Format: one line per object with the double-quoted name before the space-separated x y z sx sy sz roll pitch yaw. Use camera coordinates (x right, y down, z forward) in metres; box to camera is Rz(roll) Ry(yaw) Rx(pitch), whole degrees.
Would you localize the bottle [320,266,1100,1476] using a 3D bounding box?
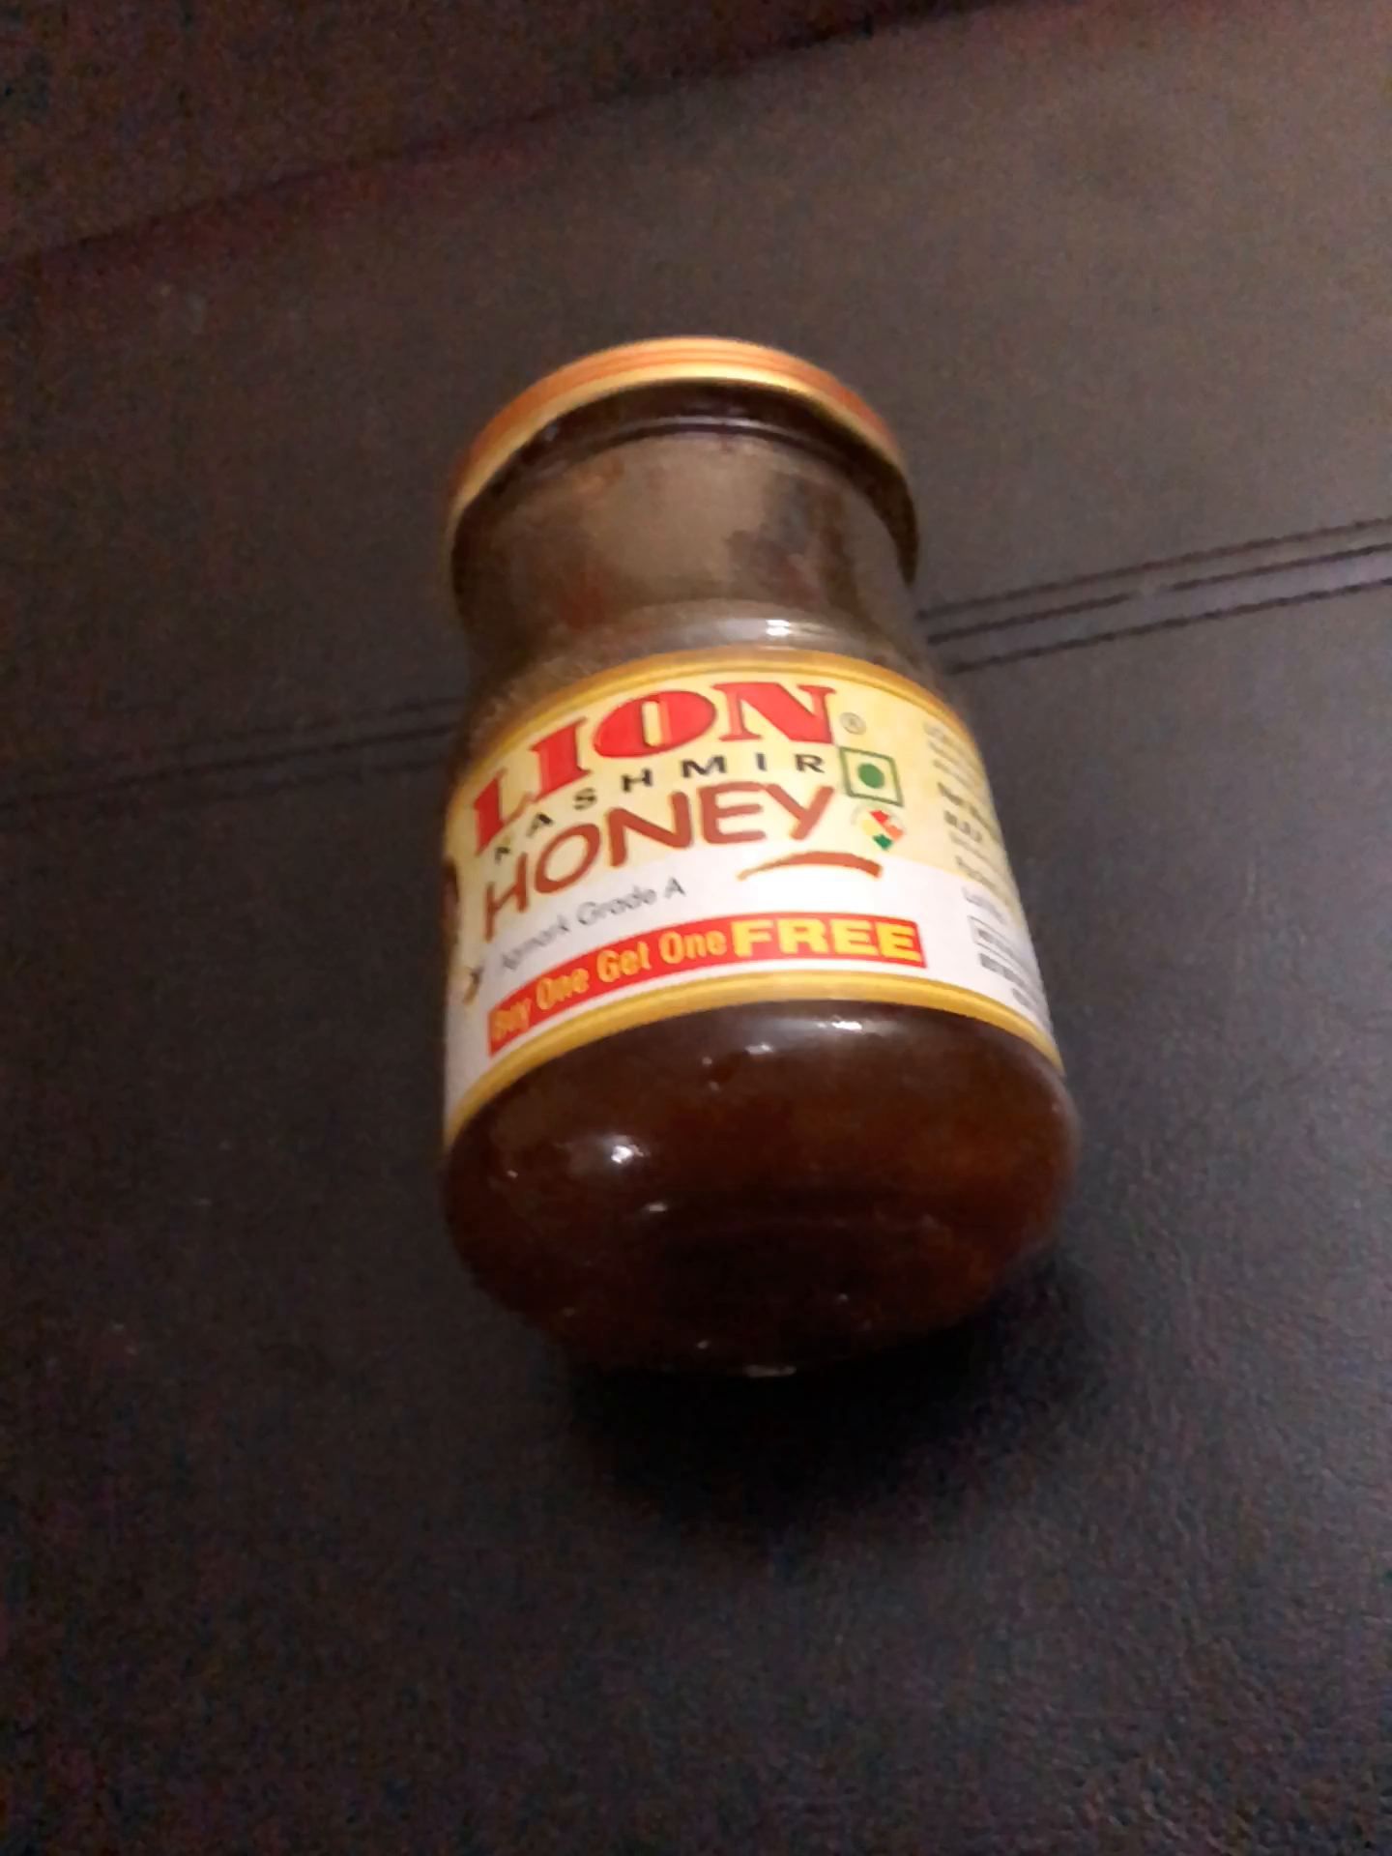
"bottle" 0.001 -0.006 0.172 0.060 0.059 0.108 -10 59 7
